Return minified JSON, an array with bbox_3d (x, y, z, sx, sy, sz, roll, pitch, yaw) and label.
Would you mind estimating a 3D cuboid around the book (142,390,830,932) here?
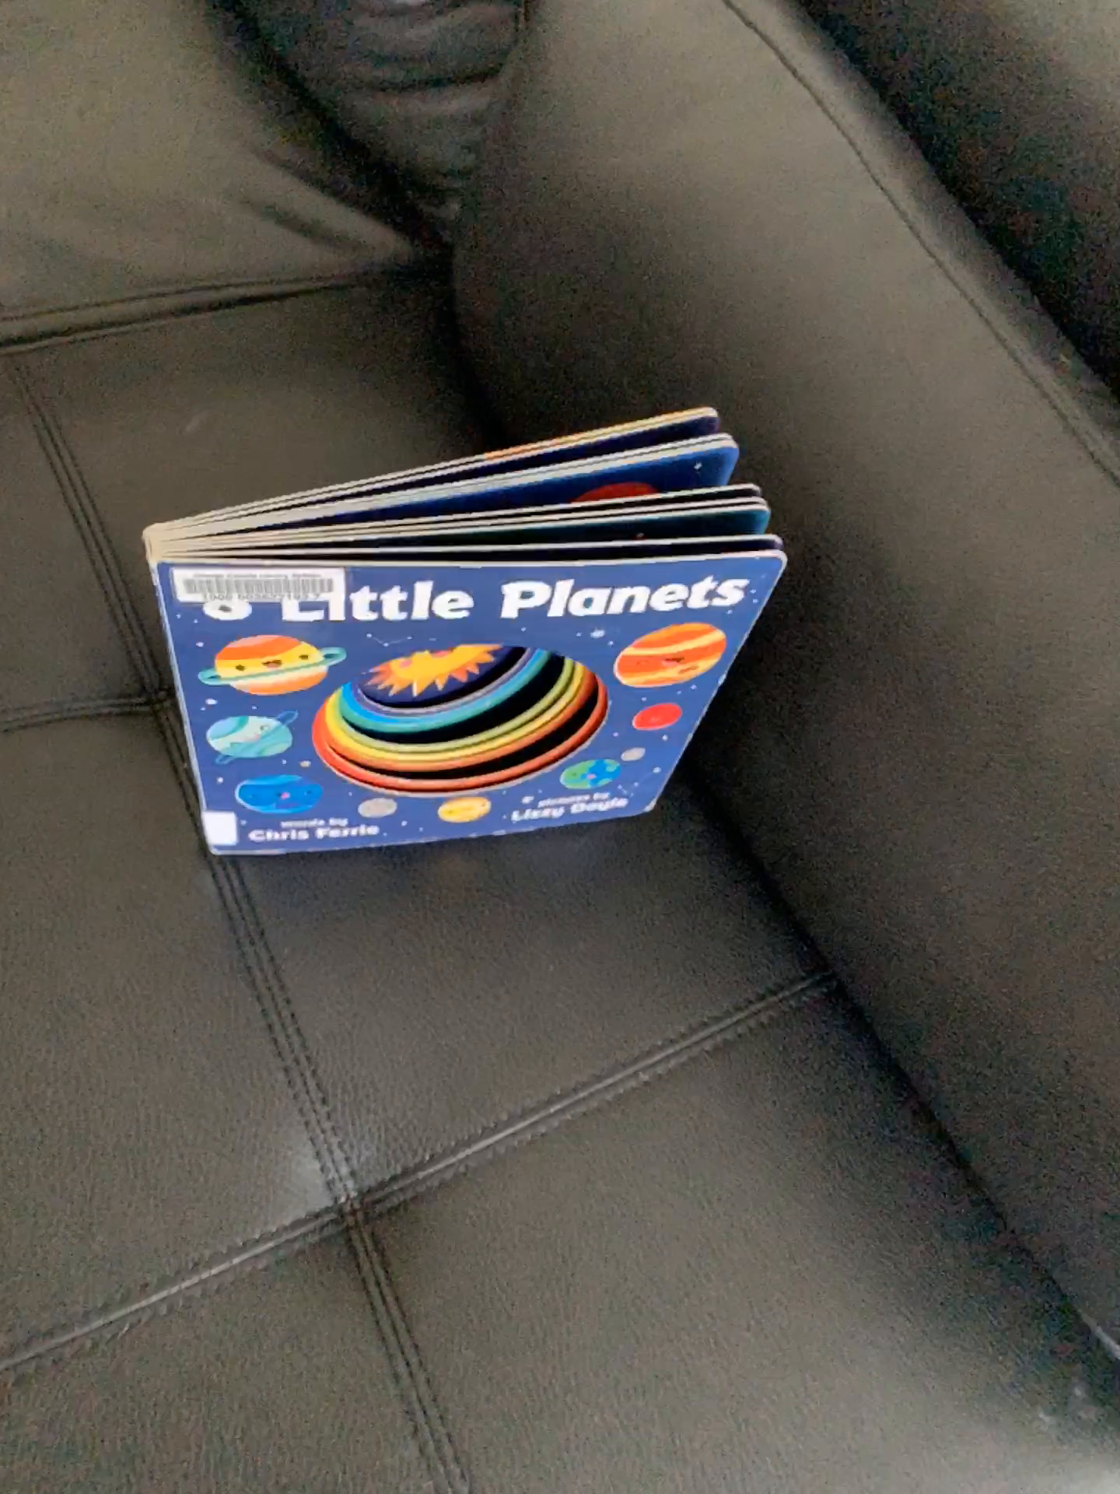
[{"bbox_3d":[-0.038,-0.025,0.457,0.208,0.211,0.079,-9,60,-16],"label":"book"}]
